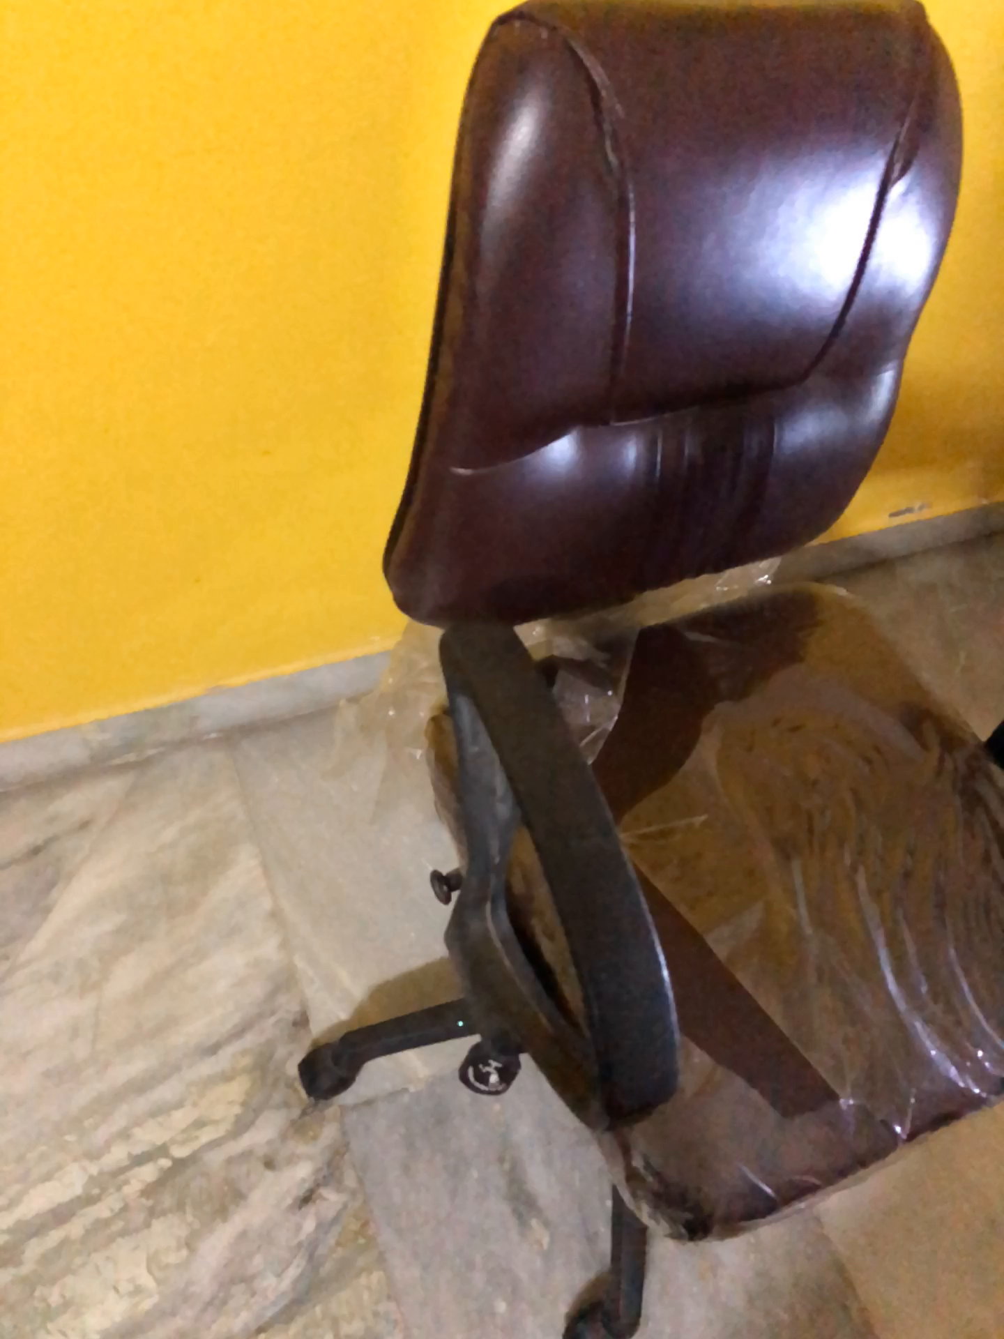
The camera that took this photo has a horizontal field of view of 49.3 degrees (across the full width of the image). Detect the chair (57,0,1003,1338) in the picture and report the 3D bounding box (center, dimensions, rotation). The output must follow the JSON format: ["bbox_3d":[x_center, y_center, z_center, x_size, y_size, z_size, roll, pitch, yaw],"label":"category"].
[{"bbox_3d":[0.183,0.083,0.863,0.692,0.974,0.682,-18,59,-22],"label":"chair"}]
